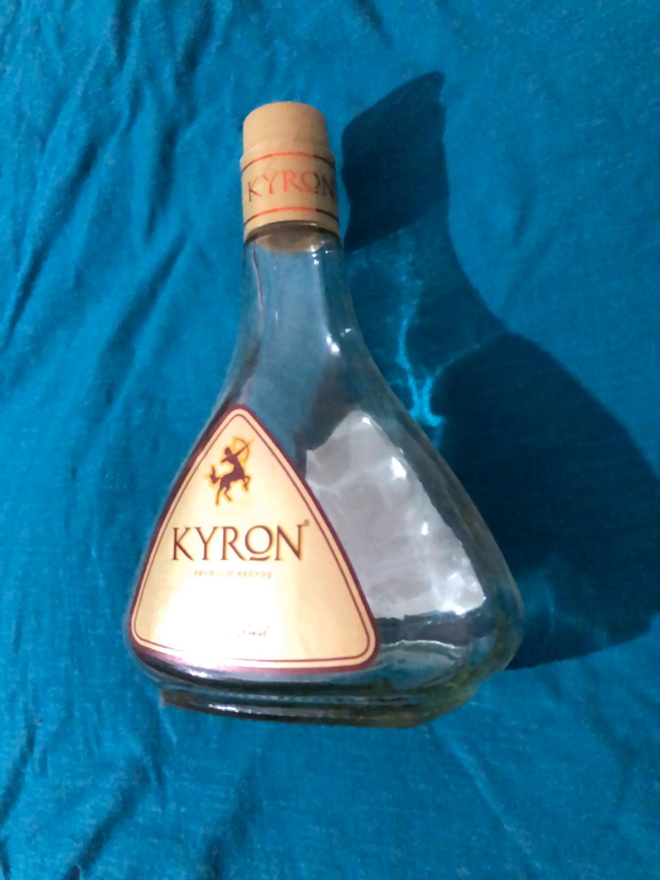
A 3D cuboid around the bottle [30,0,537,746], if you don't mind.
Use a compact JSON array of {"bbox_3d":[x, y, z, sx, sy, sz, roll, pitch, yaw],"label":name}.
[{"bbox_3d":[-0.017,-0.018,0.215,0.120,0.060,0.180,-8,85,29],"label":"bottle"}]
